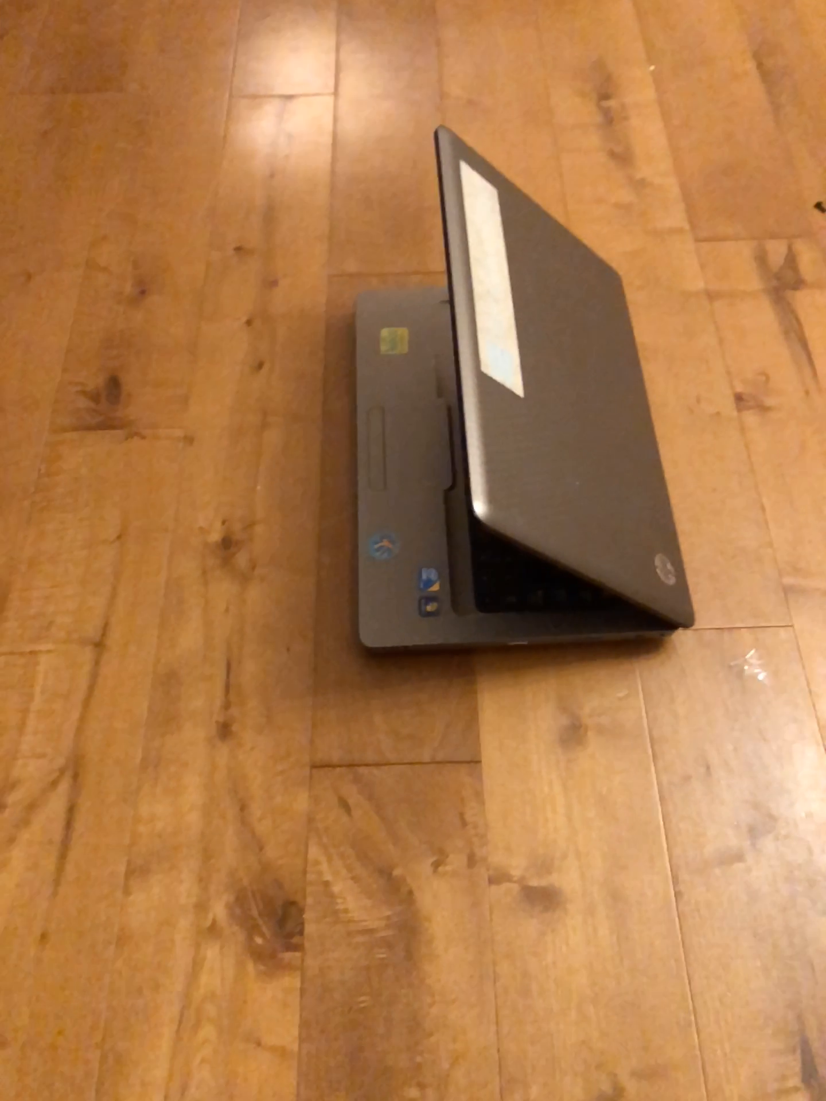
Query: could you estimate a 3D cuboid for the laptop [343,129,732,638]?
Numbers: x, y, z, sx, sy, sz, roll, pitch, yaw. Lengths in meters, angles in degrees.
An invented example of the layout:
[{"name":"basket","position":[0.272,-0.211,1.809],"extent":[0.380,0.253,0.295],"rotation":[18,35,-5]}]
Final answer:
[{"name":"laptop","position":[0.067,-0.131,0.689],"extent":[0.222,0.164,0.348],"rotation":[-3,60,1]}]
